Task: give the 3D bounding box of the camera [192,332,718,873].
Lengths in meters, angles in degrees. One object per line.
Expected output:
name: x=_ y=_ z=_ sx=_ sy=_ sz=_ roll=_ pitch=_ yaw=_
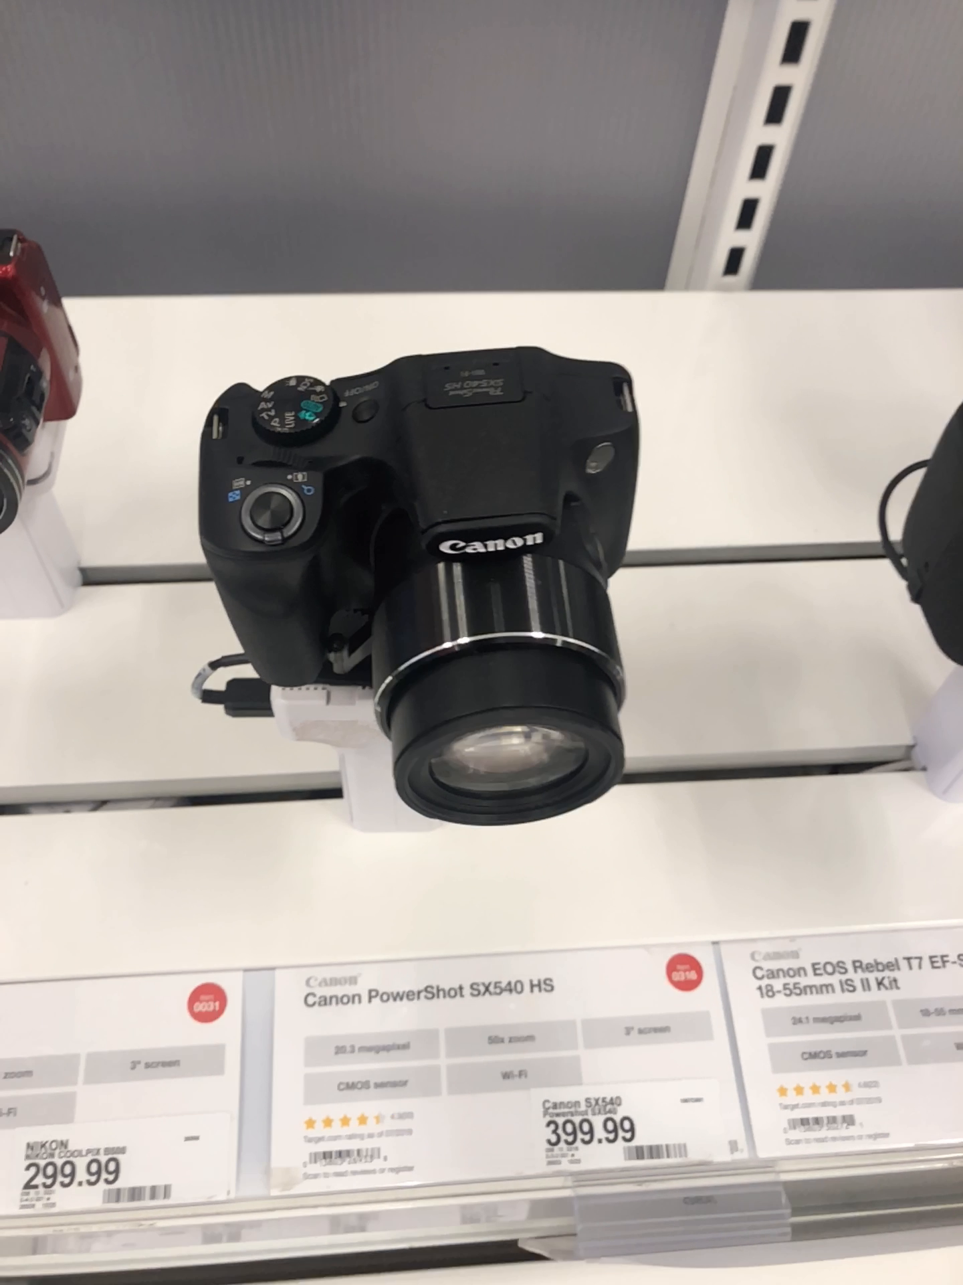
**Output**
camera: x=-0.012 y=-0.010 z=0.261 sx=0.100 sy=0.076 sz=0.099 roll=-4 pitch=57 yaw=-6
